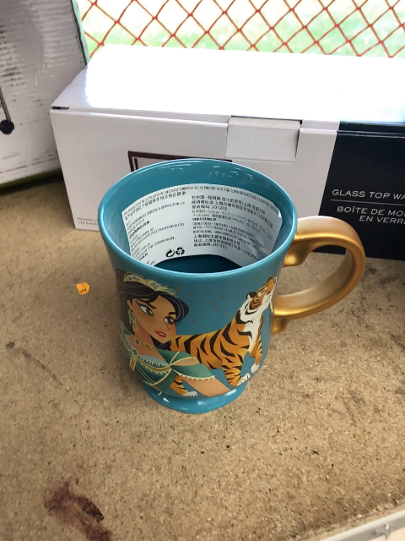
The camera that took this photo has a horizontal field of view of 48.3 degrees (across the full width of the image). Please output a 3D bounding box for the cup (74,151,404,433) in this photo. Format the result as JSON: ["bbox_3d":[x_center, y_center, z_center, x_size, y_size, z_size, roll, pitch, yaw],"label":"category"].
[{"bbox_3d":[0.015,0.013,0.260,0.140,0.120,0.099,-3,43,-3],"label":"cup"}]
